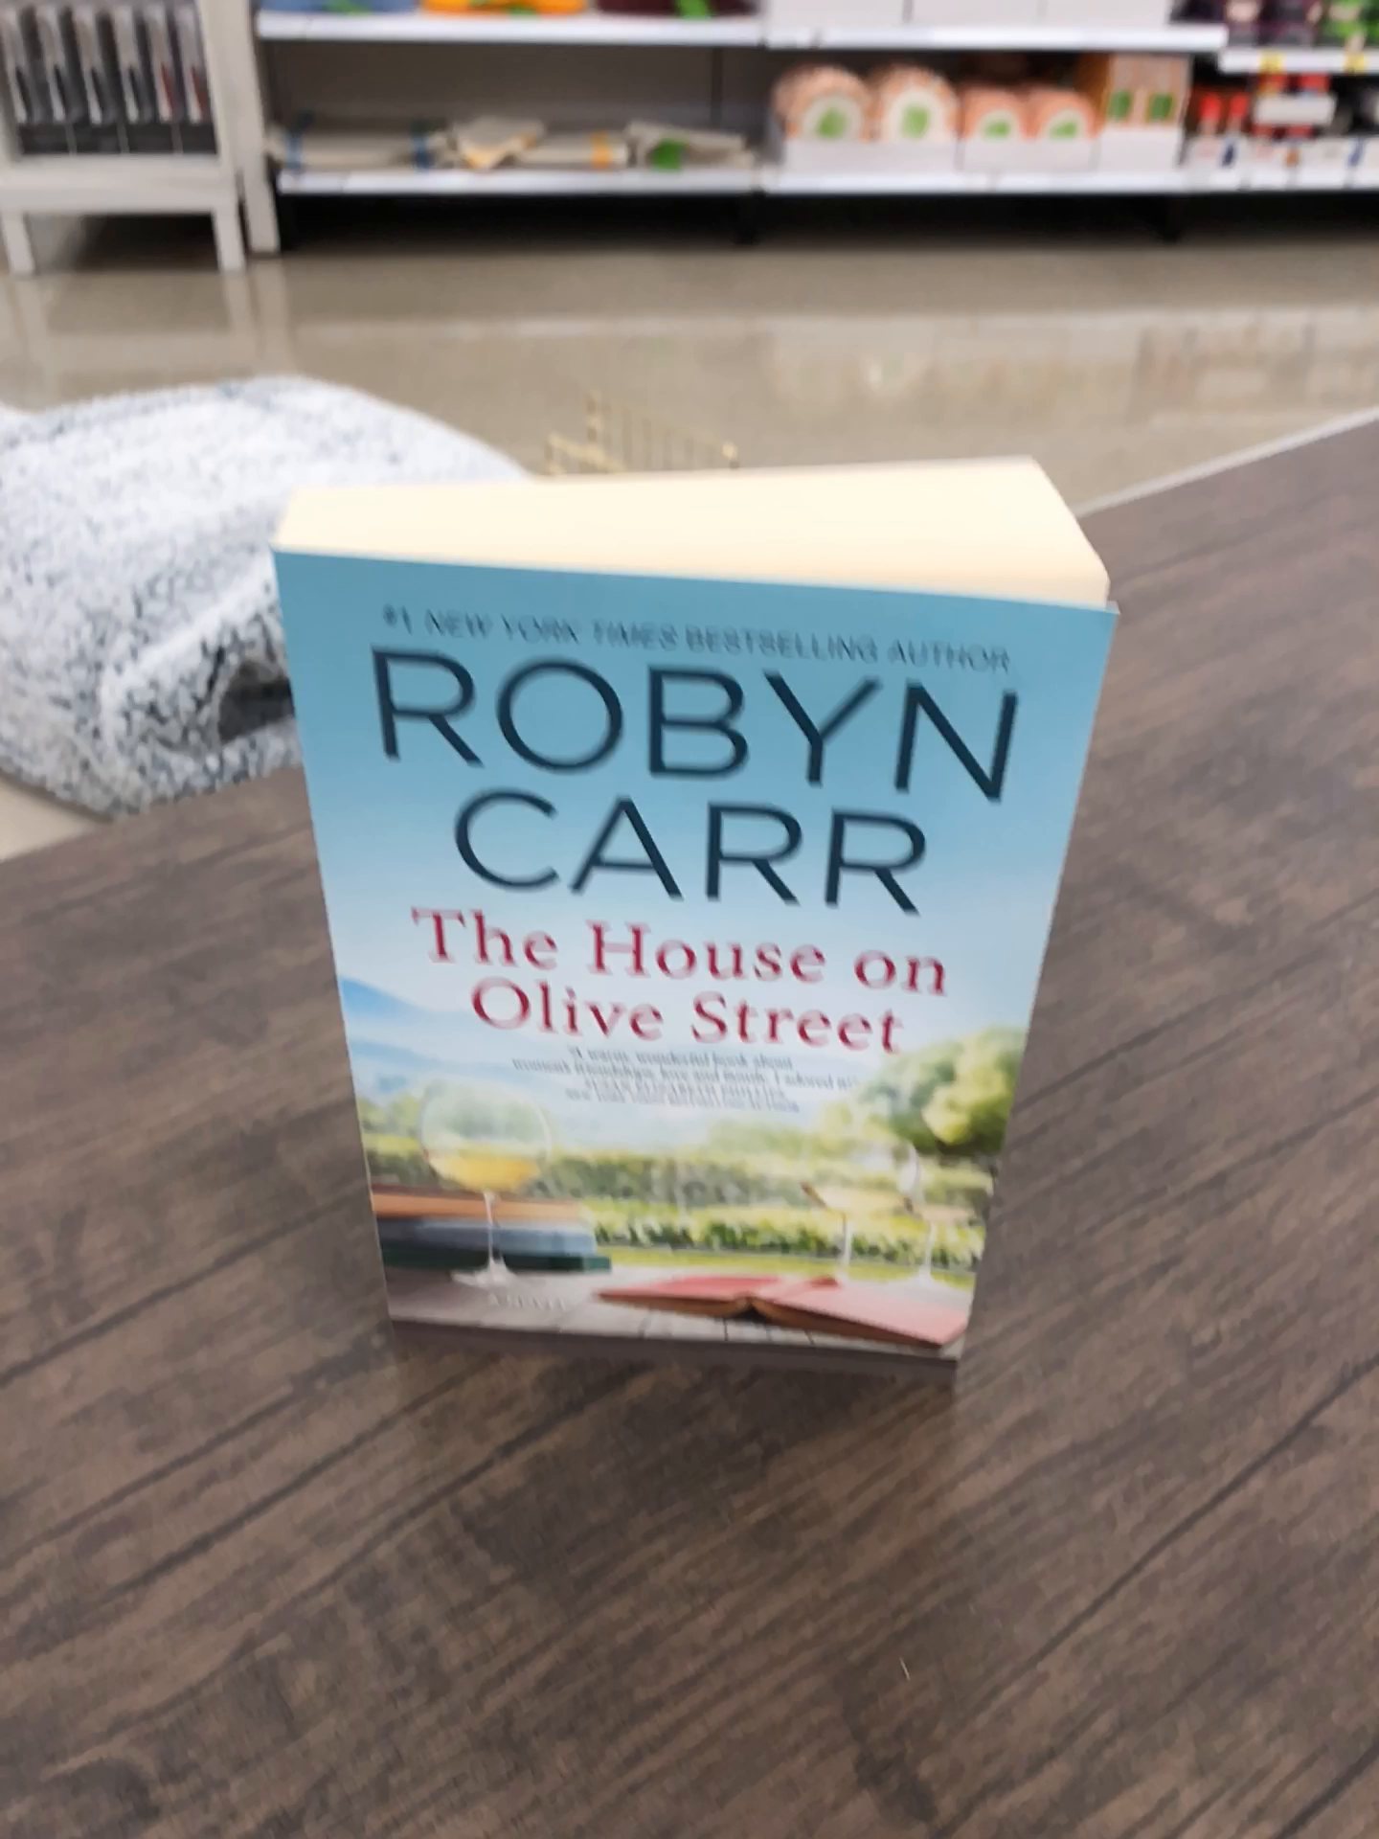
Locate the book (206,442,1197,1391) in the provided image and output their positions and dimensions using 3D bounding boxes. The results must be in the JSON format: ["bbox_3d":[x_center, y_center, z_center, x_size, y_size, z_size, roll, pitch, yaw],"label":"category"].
[{"bbox_3d":[0.000,0.012,0.307,0.146,0.195,0.050,1,37,0],"label":"book"}]
